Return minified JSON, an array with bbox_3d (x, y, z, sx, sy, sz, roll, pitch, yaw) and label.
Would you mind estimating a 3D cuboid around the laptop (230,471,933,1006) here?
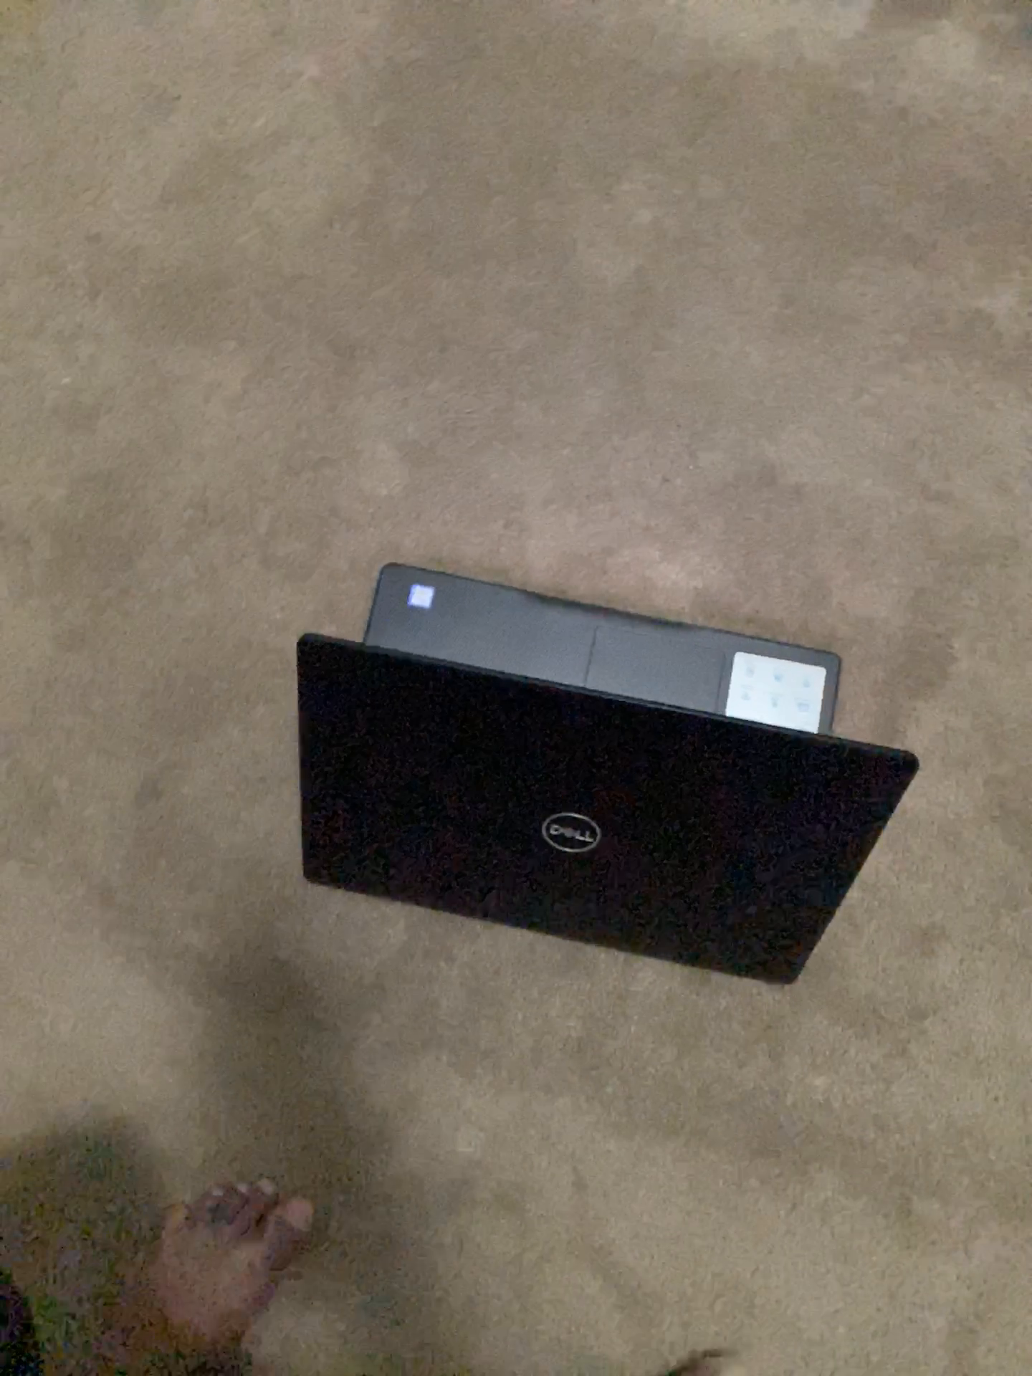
[{"bbox_3d":[0.045,0.038,0.723,0.376,0.202,0.252,12,78,3],"label":"laptop"}]
